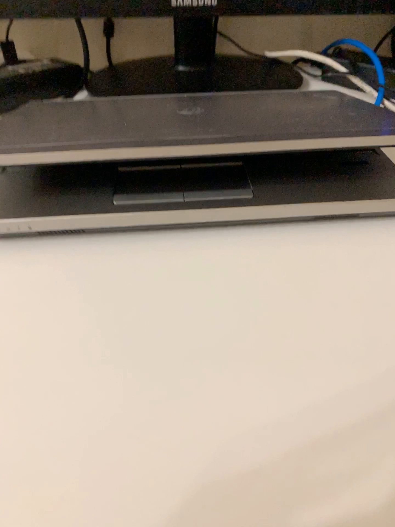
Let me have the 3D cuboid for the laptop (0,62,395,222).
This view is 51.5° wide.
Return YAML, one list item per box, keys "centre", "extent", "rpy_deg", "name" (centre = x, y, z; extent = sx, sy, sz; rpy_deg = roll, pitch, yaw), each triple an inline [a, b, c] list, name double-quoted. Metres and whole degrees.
- centre: [-0.004, -0.107, 0.319]
  extent: [0.292, 0.029, 0.184]
  rpy_deg: [-4, 42, -3]
  name: "laptop"
